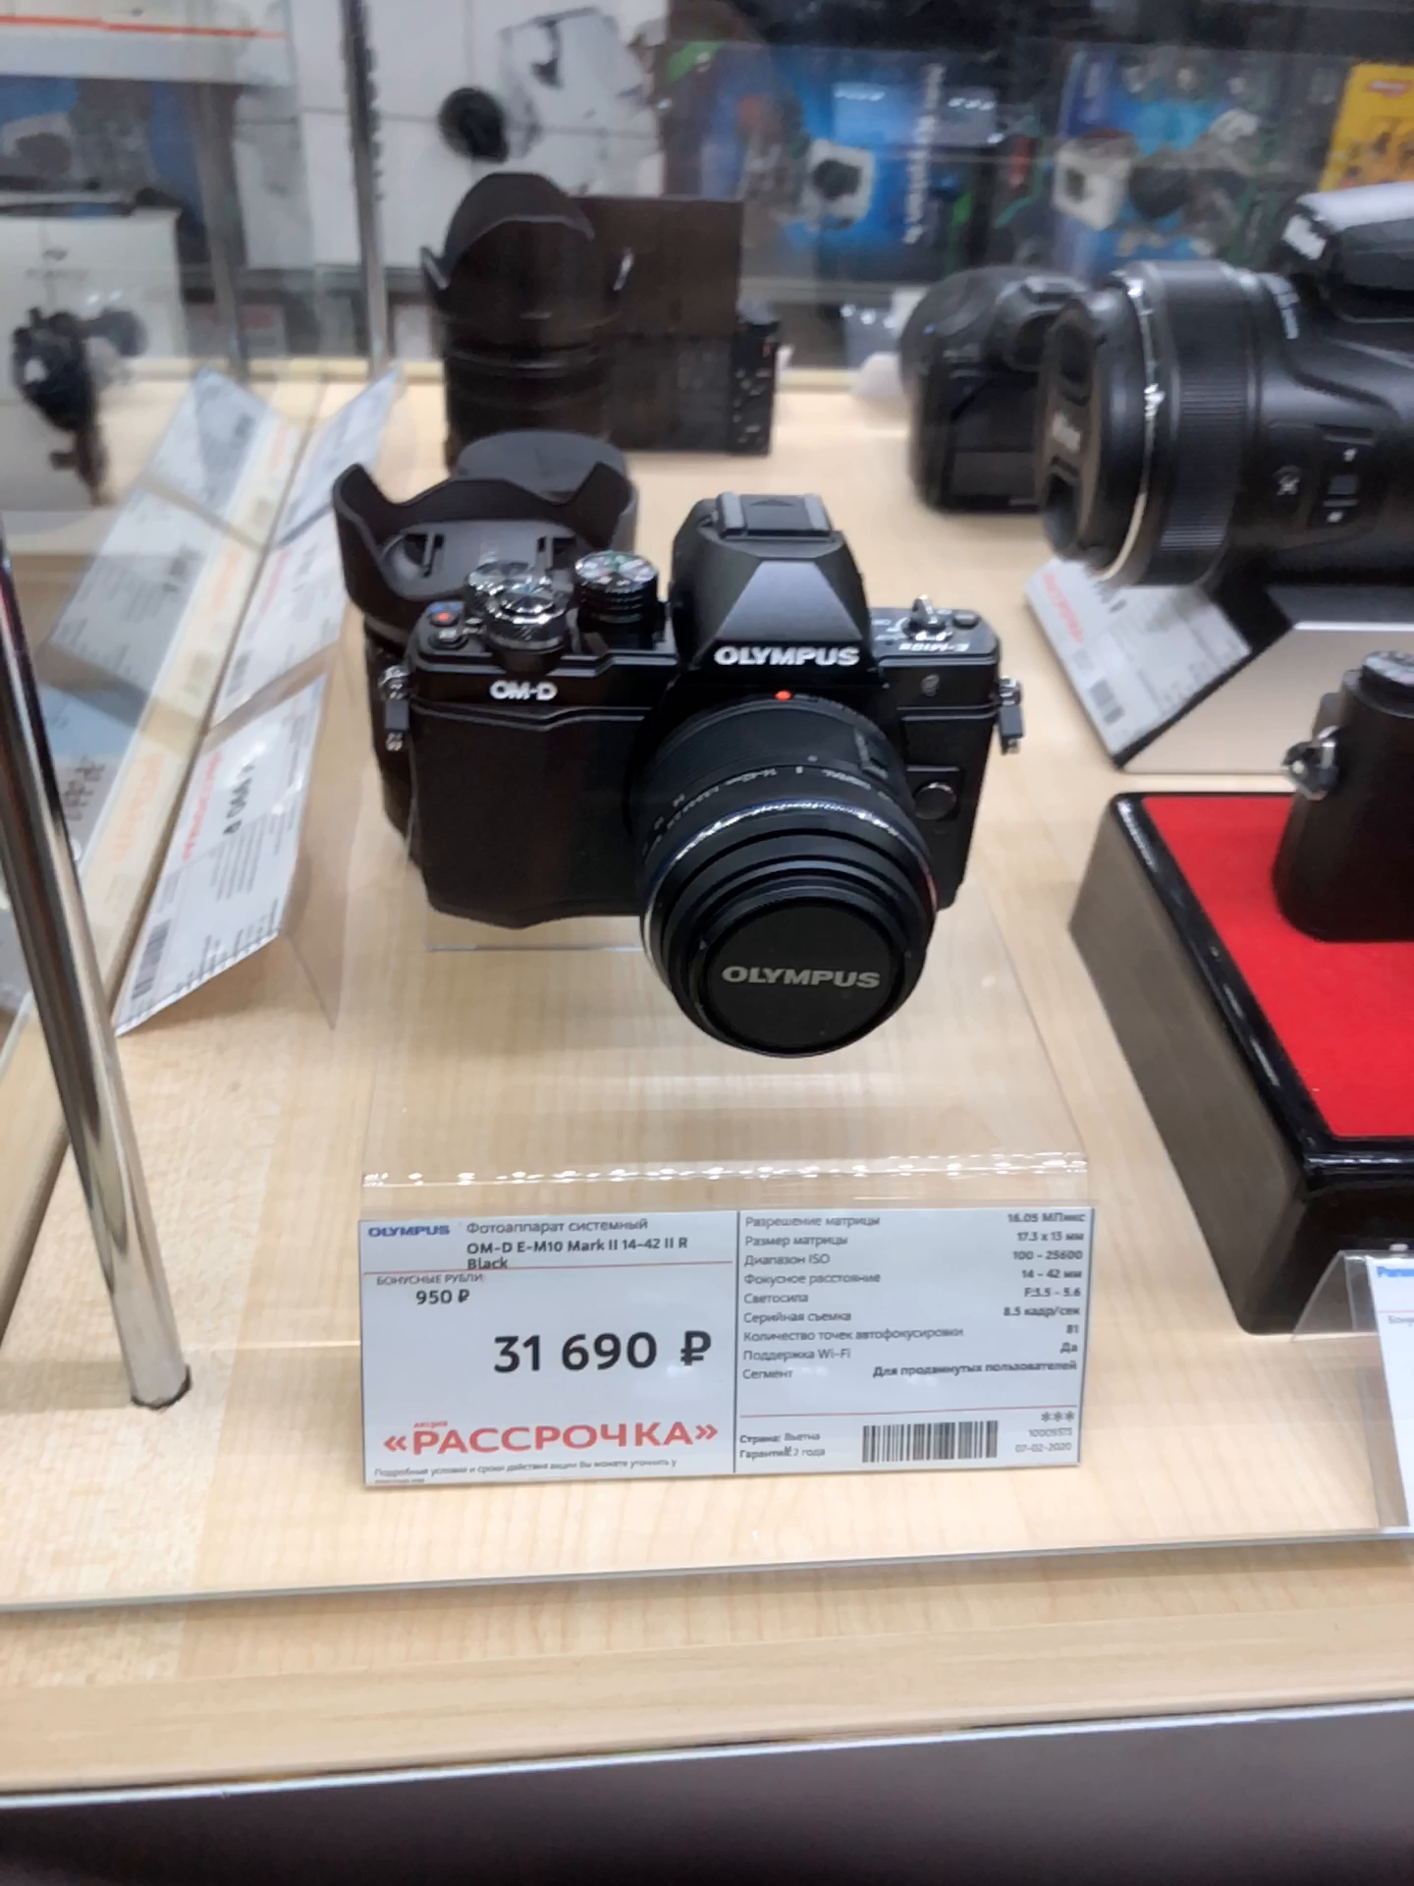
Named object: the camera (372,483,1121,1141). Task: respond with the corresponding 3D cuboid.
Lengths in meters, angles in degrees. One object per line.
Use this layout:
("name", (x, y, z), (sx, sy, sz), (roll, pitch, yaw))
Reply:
("camera", (0.002, -0.029, 0.312), (0.118, 0.088, 0.101), (0, 36, -5))

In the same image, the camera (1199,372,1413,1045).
("camera", (0.180, -0.046, 0.314), (0.118, 0.109, 0.073), (0, 36, -5))

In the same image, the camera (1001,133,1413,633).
("camera", (0.197, -0.172, 0.479), (0.185, 0.109, 0.104), (3, 36, -1))
